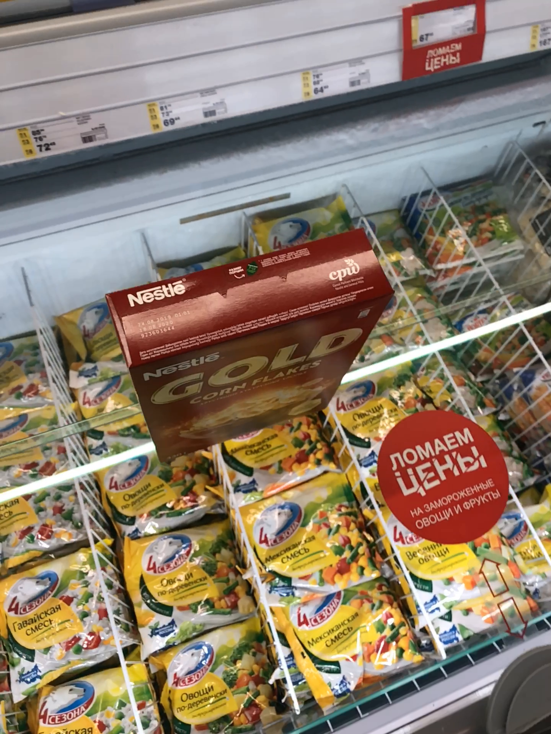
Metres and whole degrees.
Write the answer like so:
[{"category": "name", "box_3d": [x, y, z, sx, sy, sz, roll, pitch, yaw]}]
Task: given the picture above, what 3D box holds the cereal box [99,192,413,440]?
[{"category": "cereal box", "box_3d": [-0.024, -0.027, 0.541, 0.210, 0.259, 0.060, -17, 71, -13]}]
